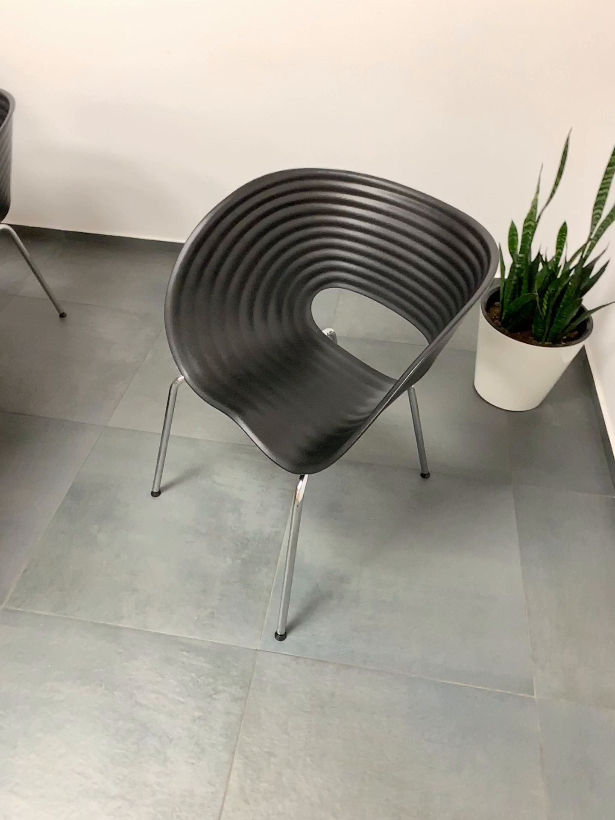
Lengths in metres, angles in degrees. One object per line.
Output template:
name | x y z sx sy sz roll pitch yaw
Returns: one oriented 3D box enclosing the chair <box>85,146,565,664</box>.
chair | 0.014 -0.039 1.462 0.642 0.796 0.652 -30 52 -30
